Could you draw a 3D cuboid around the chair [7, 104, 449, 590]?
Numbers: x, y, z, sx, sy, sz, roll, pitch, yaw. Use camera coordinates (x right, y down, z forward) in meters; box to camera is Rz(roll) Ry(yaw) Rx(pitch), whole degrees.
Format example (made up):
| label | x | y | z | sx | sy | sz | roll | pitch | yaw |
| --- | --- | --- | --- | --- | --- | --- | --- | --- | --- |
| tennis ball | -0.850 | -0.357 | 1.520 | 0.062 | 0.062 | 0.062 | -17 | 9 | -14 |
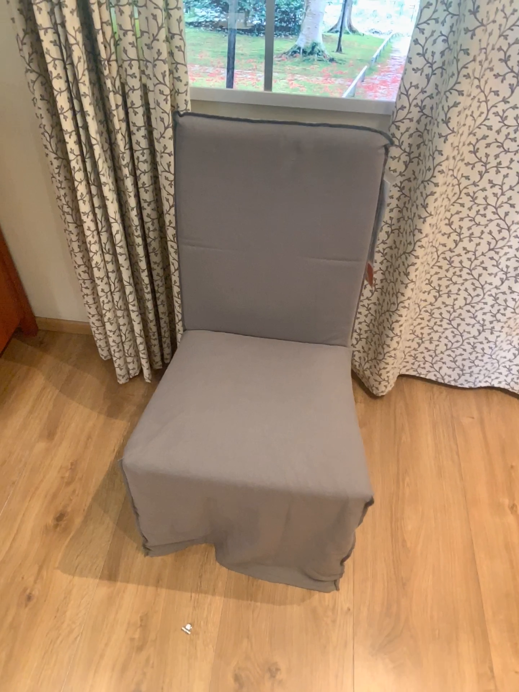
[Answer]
| label | x | y | z | sx | sy | sz | roll | pitch | yaw |
| --- | --- | --- | --- | --- | --- | --- | --- | --- | --- |
| chair | -0.021 | 0.040 | 1.189 | 0.570 | 0.877 | 0.592 | 6 | 45 | 4 |
